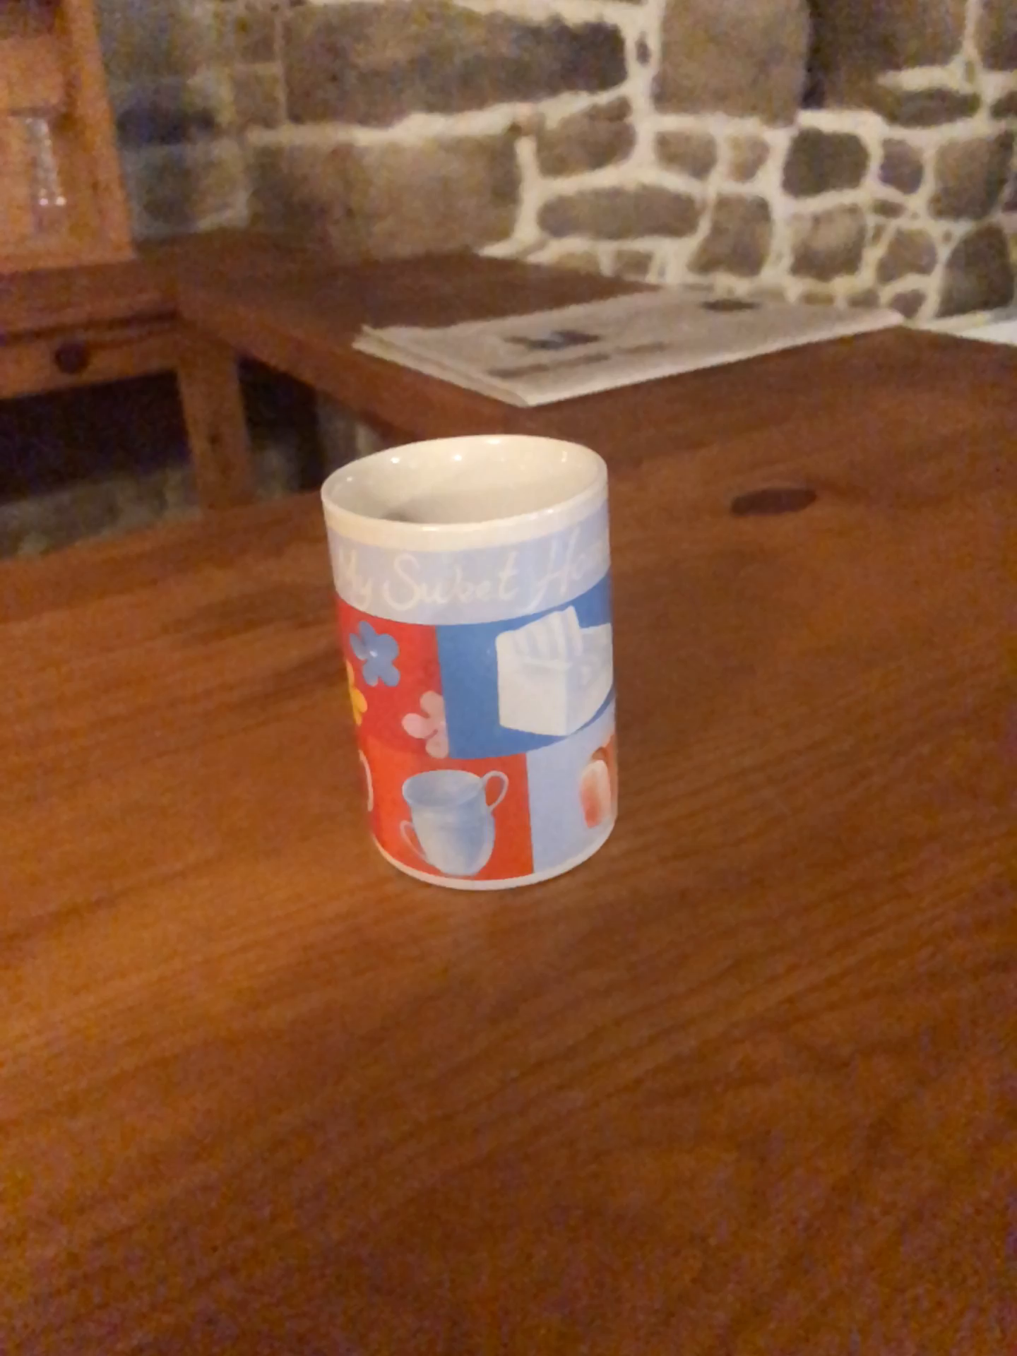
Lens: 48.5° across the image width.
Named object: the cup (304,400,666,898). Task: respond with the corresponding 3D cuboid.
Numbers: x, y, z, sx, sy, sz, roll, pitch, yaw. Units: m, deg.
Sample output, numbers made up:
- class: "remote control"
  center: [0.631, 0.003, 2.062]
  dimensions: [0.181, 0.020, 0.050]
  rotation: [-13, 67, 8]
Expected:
- class: "cup"
  center: [-0.005, -0.015, 0.320]
  dimensions: [0.080, 0.099, 0.112]
  rotation: [-3, 27, -1]
